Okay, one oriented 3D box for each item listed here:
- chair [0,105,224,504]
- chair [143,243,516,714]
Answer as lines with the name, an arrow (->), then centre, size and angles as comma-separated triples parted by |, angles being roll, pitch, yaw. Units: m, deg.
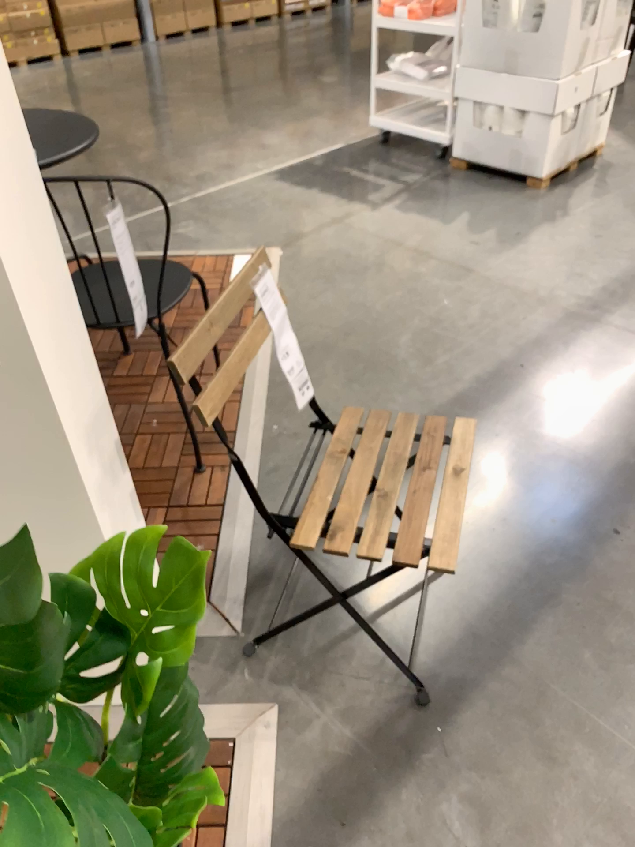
chair -> -0.518, -0.288, 1.666 | 0.398, 0.821, 0.559 | -1, 39, 1
chair -> 0.057, 0.111, 1.221 | 0.476, 0.721, 0.410 | 9, 41, 13
